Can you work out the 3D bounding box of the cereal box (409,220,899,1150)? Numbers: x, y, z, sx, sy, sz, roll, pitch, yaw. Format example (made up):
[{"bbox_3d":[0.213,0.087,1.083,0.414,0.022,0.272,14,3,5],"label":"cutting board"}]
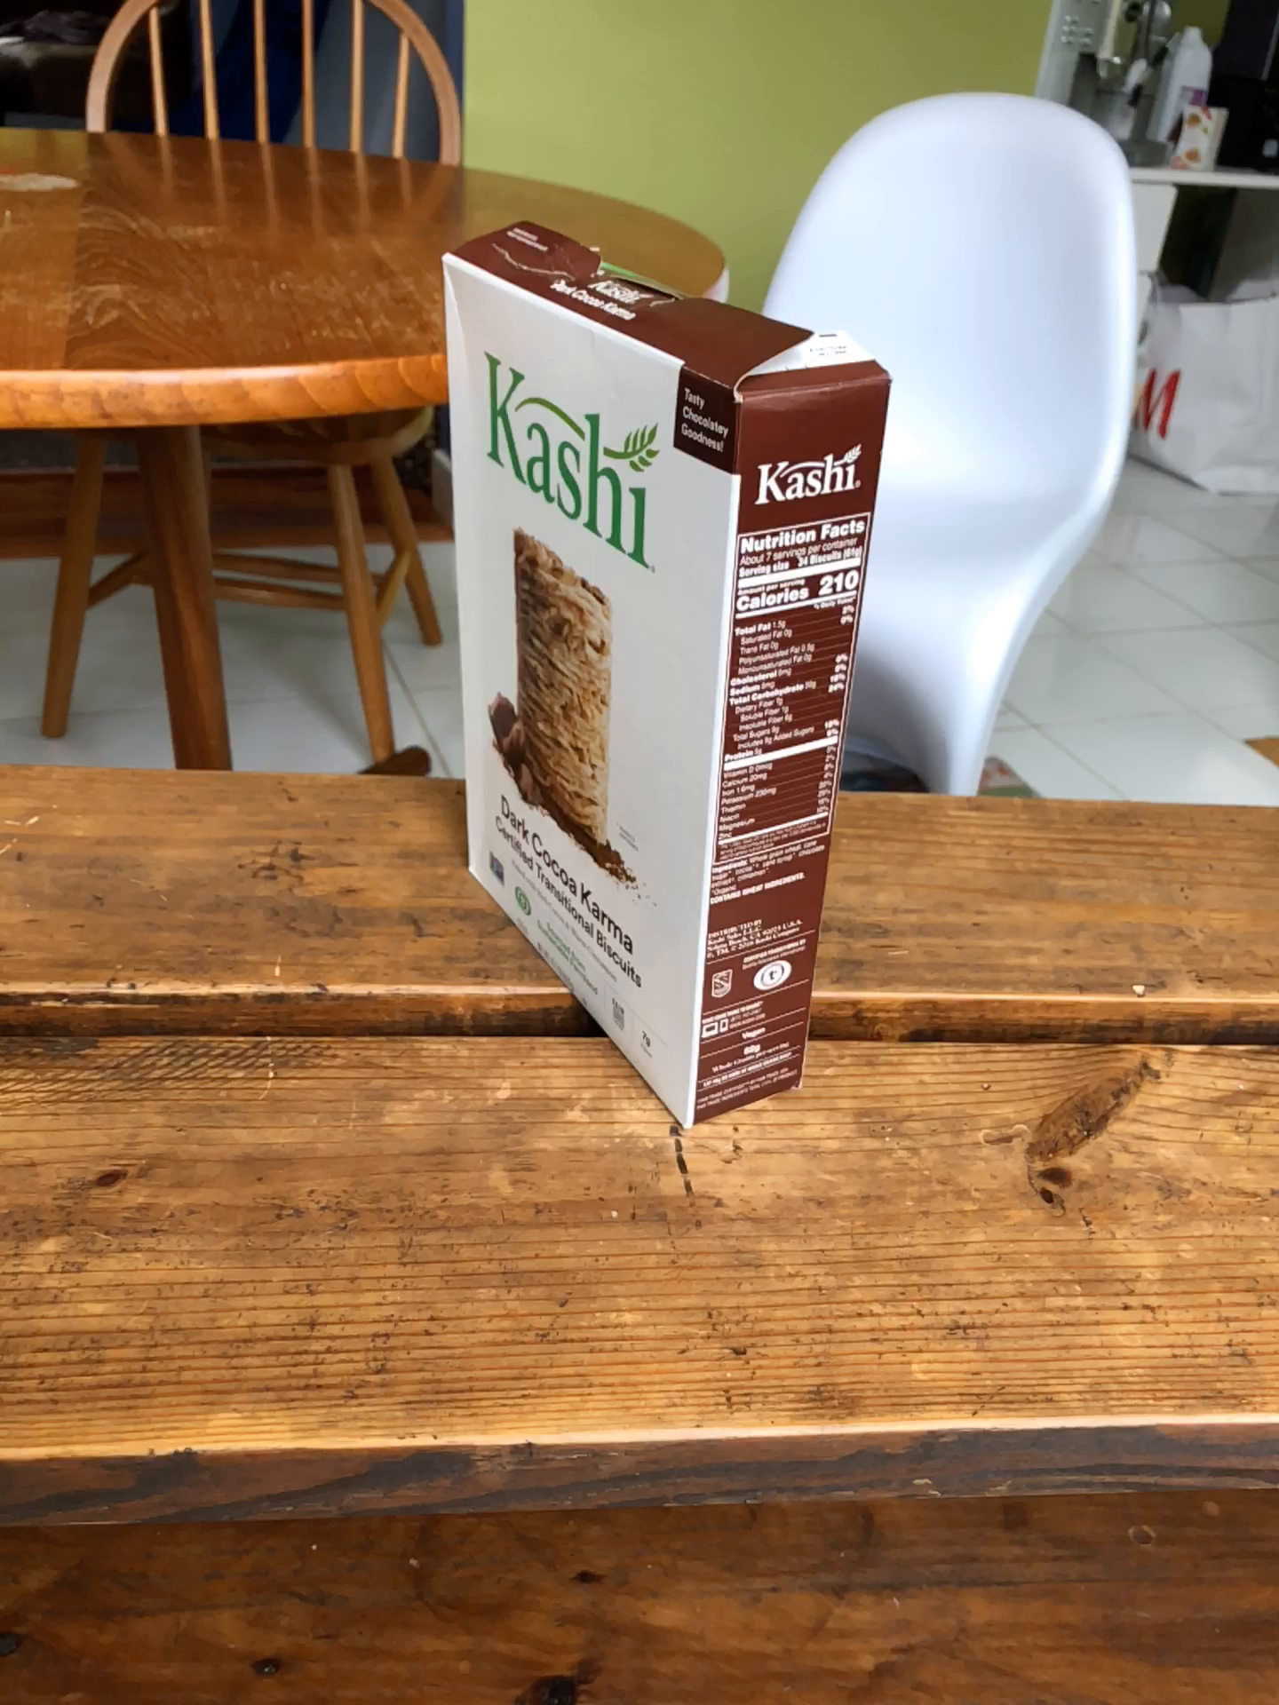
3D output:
[{"bbox_3d":[-0.009,-0.065,0.523,0.060,0.278,0.201,-17,38,-26],"label":"cereal box"}]
